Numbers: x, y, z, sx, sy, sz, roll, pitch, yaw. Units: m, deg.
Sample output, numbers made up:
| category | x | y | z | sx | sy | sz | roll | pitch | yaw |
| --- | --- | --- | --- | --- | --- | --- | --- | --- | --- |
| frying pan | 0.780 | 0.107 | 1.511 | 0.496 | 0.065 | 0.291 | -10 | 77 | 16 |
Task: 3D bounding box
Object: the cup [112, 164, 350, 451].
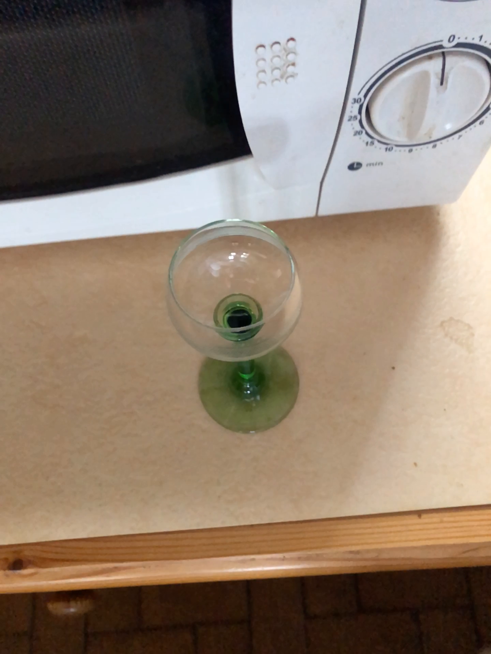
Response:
| category | x | y | z | sx | sy | sz | roll | pitch | yaw |
| --- | --- | --- | --- | --- | --- | --- | --- | --- | --- |
| cup | -0.004 | 0.004 | 0.231 | 0.060 | 0.130 | 0.060 | -1 | 68 | 2 |
